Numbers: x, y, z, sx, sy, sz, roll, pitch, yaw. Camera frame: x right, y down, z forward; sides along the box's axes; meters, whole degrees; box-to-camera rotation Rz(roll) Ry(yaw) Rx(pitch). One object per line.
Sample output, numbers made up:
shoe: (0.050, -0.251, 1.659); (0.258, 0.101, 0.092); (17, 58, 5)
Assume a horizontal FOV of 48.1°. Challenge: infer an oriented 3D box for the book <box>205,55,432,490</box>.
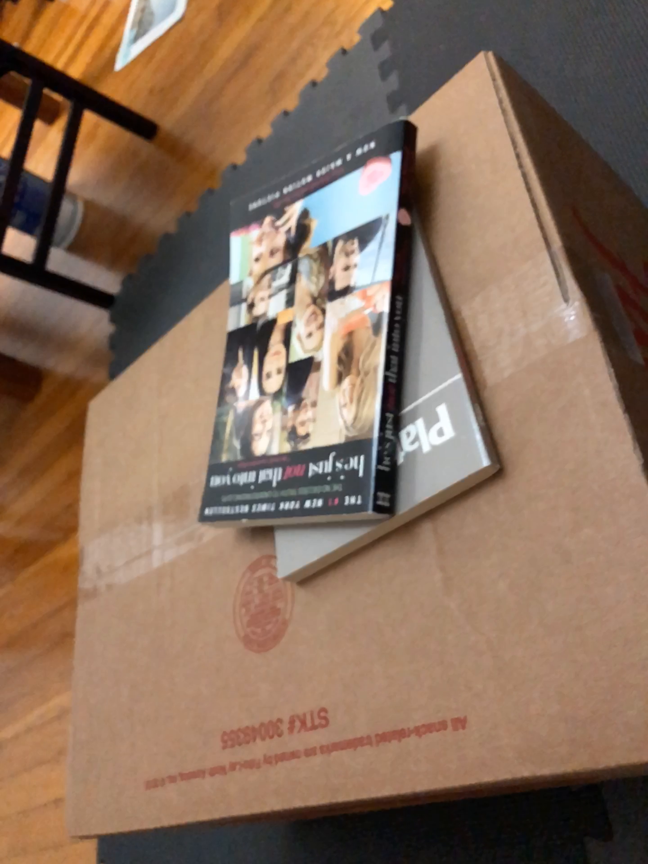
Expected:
book: (-0.006, -0.085, 0.423); (0.151, 0.010, 0.230); (-11, 67, 46)
